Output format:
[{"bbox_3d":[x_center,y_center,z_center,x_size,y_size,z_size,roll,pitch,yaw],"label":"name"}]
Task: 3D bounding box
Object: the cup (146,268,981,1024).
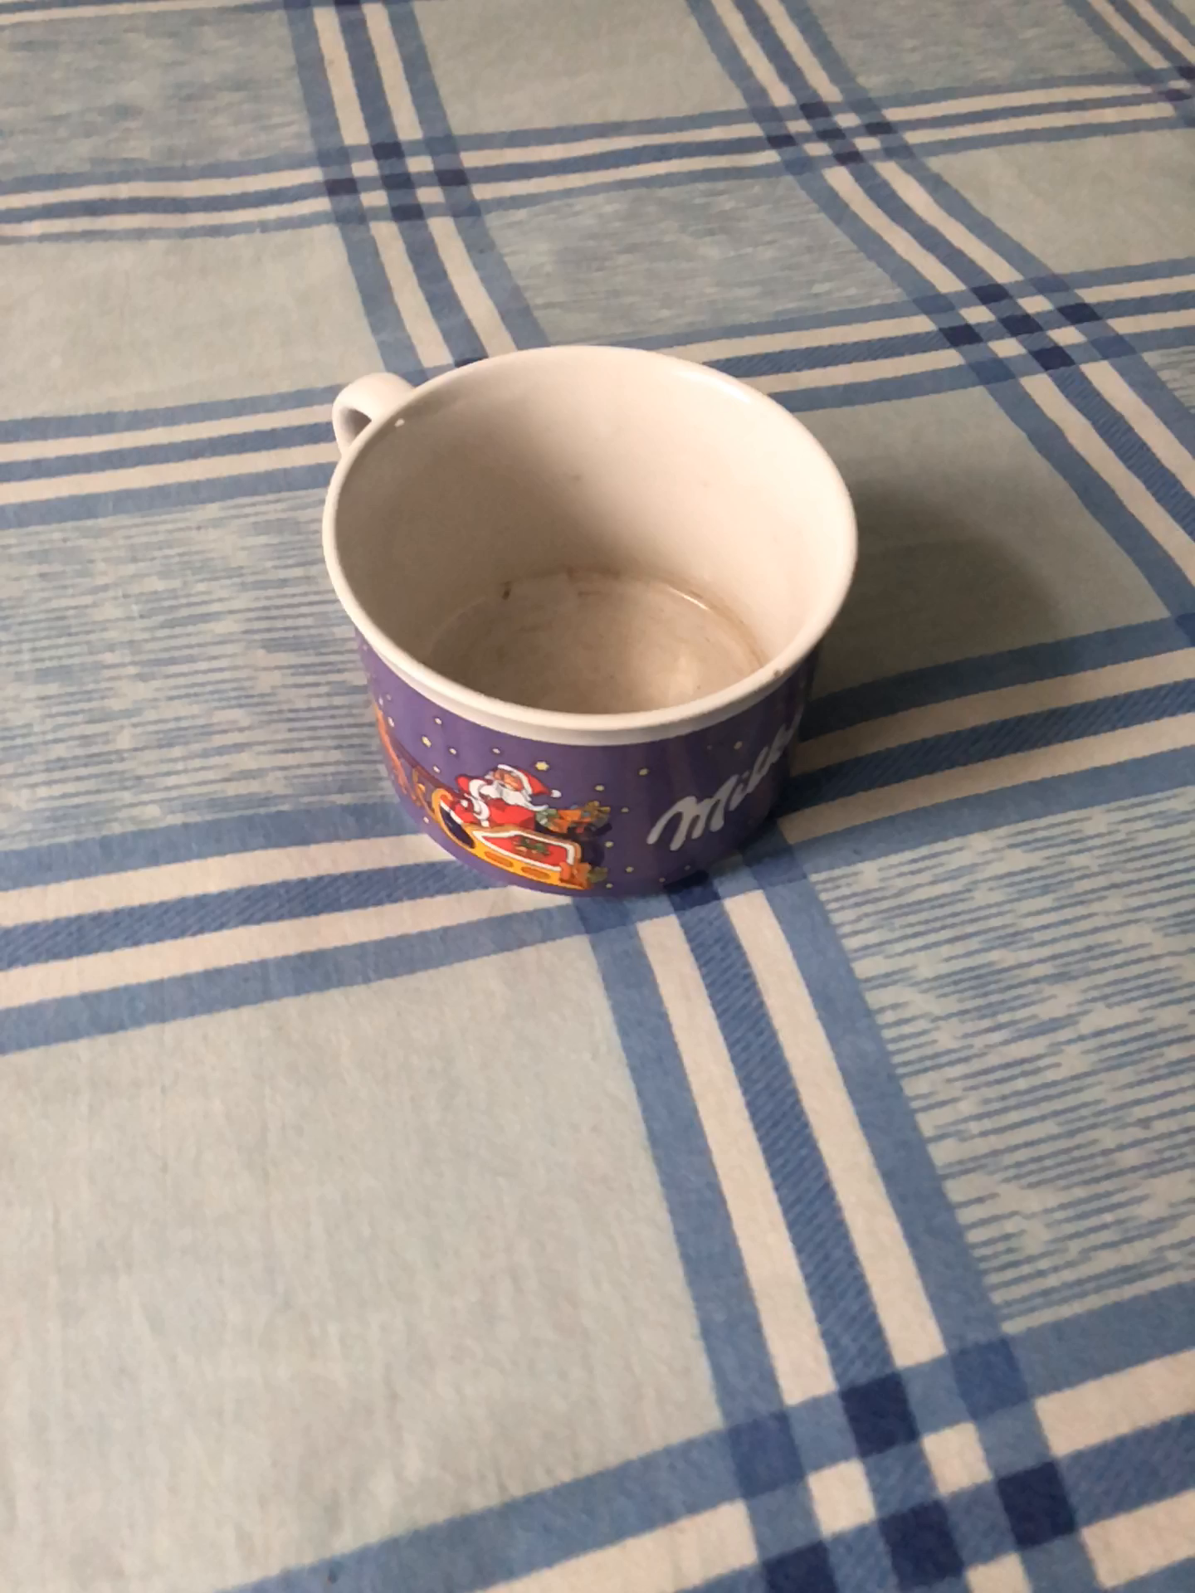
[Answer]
[{"bbox_3d":[-0.009,-0.040,0.285,0.105,0.063,0.130,-35,60,-27],"label":"cup"}]
